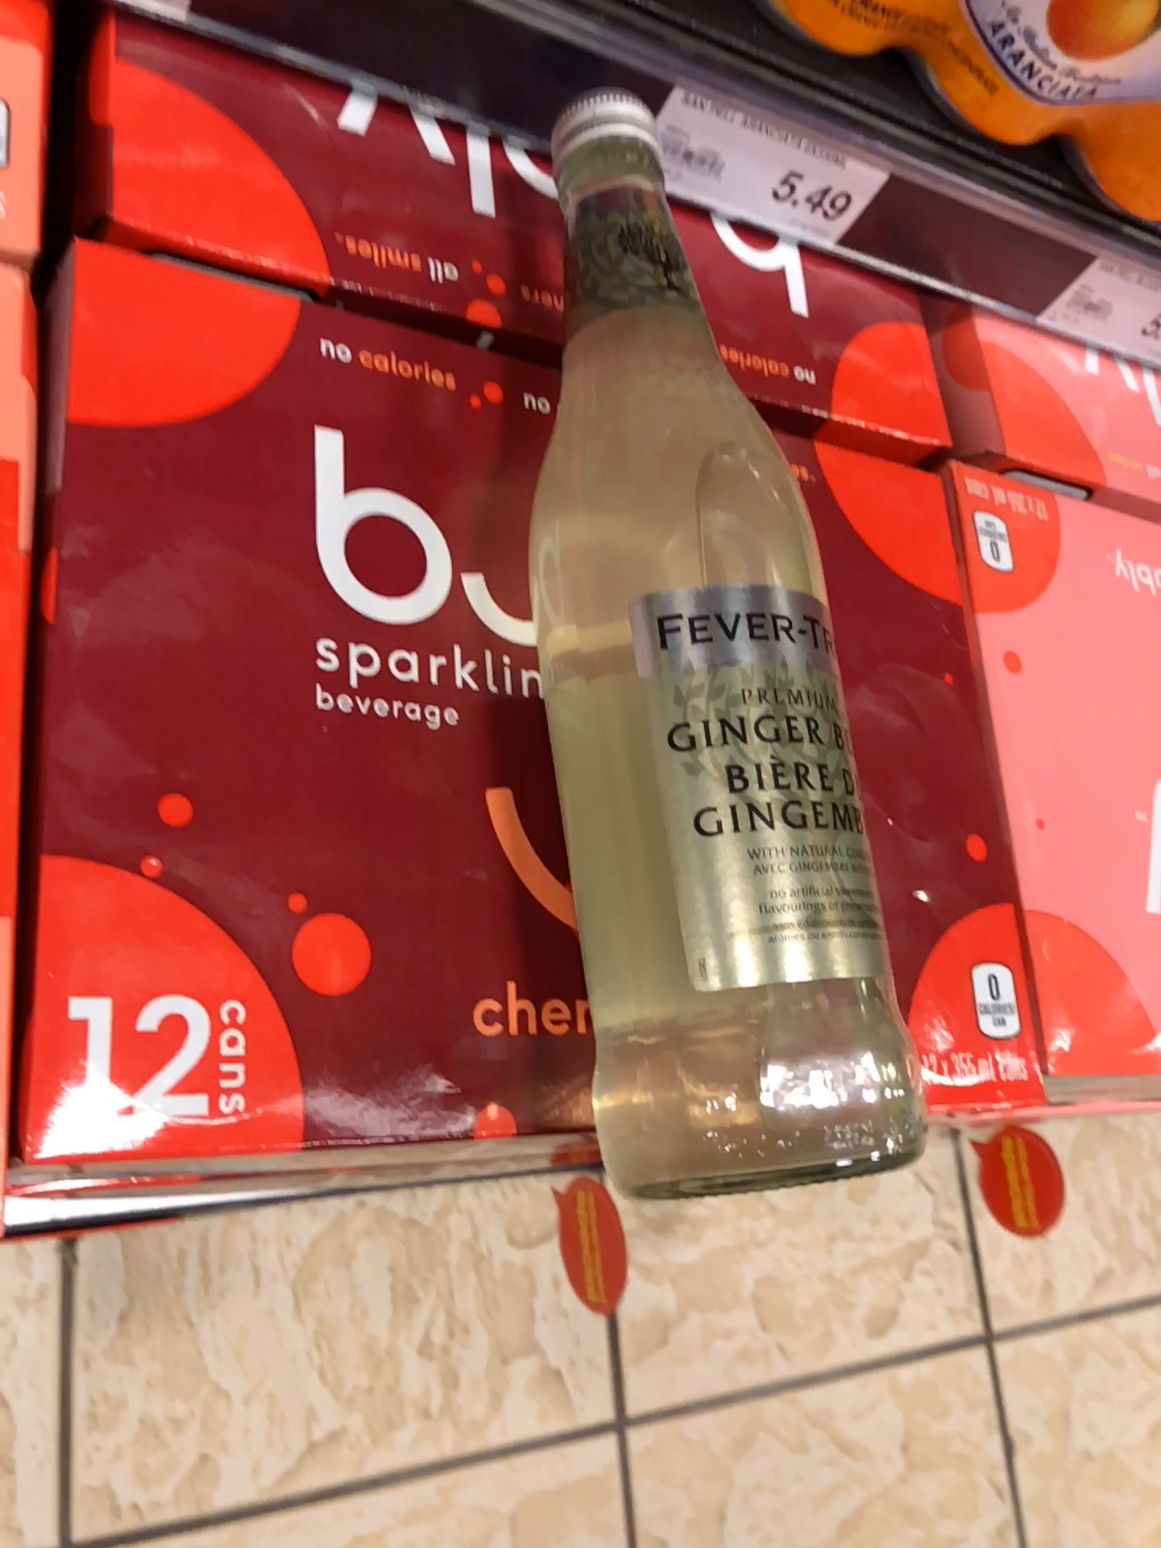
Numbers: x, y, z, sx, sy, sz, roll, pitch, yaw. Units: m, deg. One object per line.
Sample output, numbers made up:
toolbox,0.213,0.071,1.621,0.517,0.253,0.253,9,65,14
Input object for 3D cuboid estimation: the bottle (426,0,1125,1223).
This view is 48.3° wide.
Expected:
bottle,0.031,-0.048,0.288,0.080,0.080,0.270,2,72,-31
